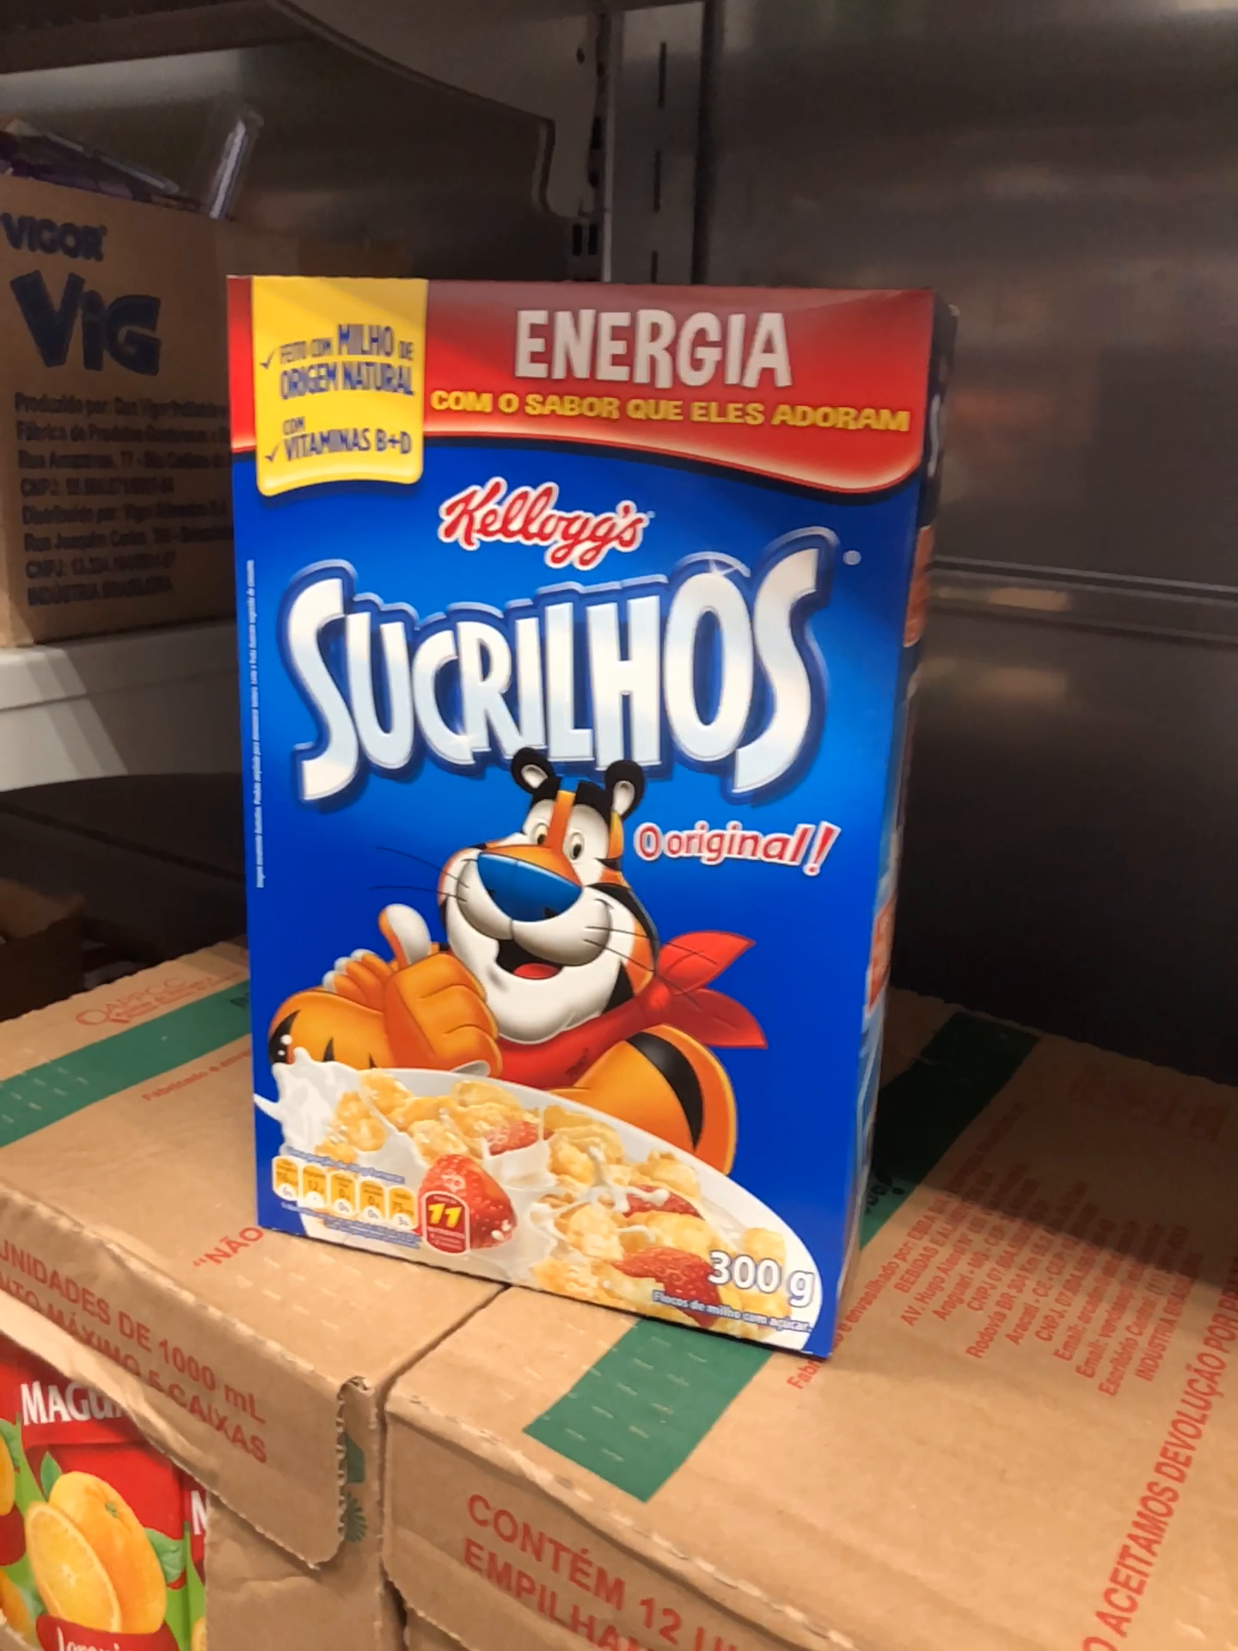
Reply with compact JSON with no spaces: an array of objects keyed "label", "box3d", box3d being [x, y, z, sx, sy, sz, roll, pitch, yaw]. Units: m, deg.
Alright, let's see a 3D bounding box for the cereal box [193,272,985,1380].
[{"label":"cereal box","box3d":[-0.009,-0.004,0.348,0.170,0.249,0.060,7,18,17]}]
